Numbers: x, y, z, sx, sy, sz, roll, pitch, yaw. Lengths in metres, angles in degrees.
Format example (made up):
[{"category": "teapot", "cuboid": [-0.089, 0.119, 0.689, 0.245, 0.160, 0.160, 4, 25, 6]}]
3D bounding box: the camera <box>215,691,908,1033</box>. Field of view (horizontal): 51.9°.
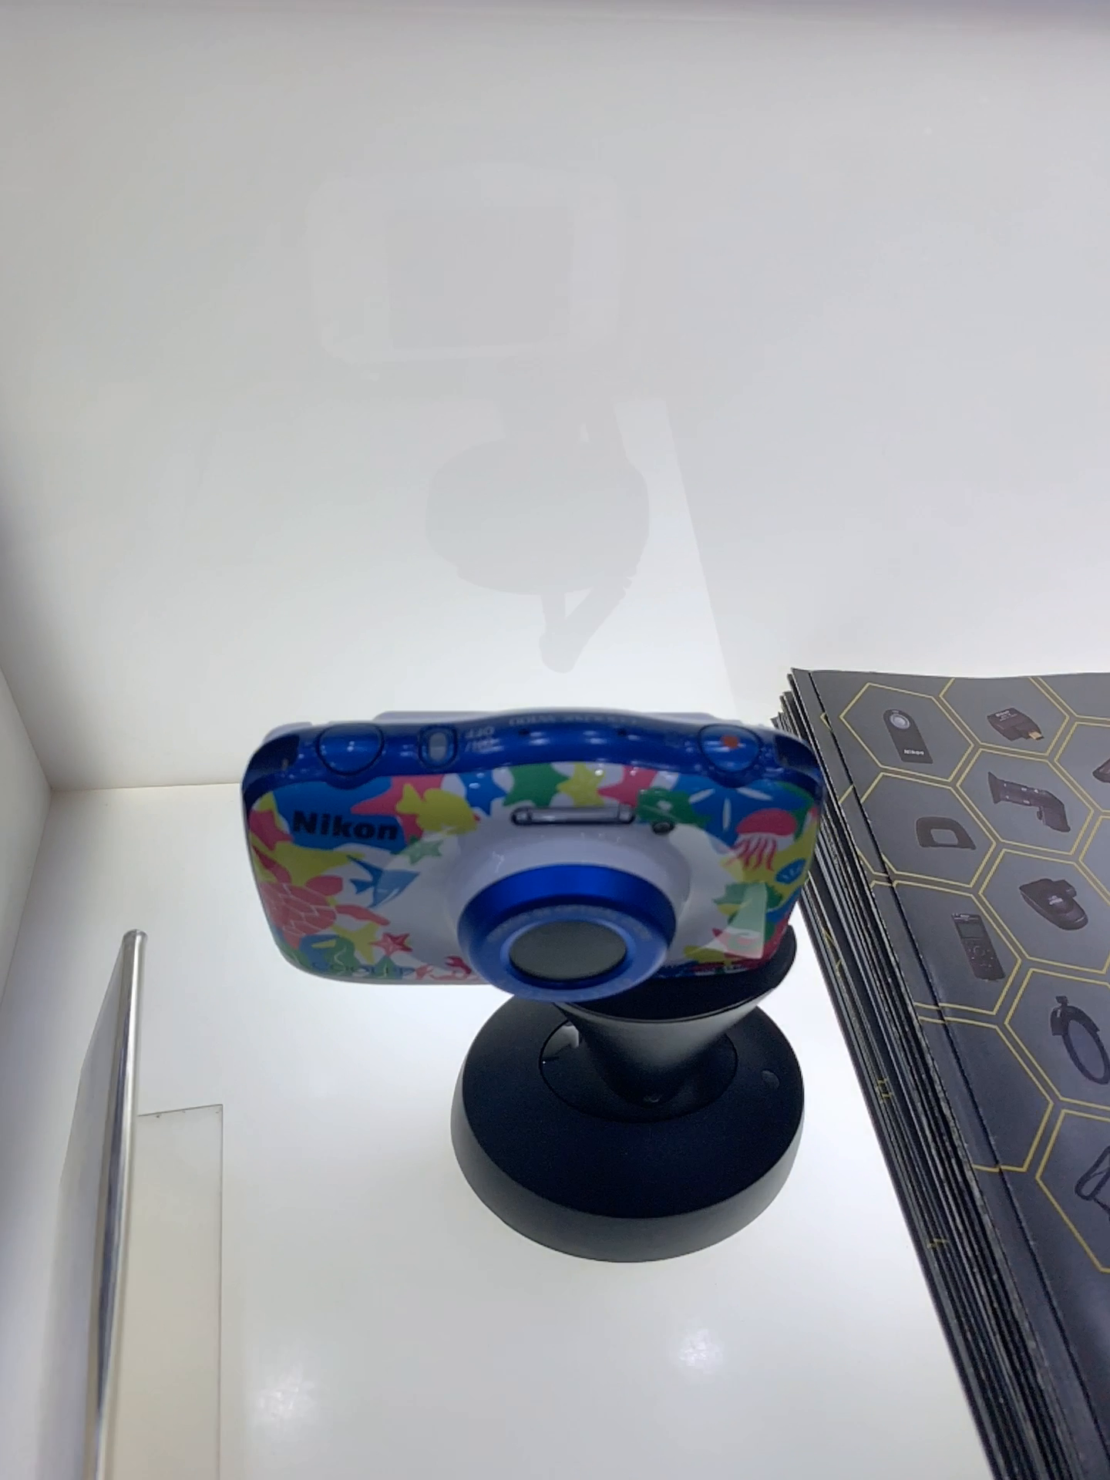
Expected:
[{"category": "camera", "cuboid": [0.000, 0.026, 0.232, 0.120, 0.060, 0.040, 0, 47, -4]}]
